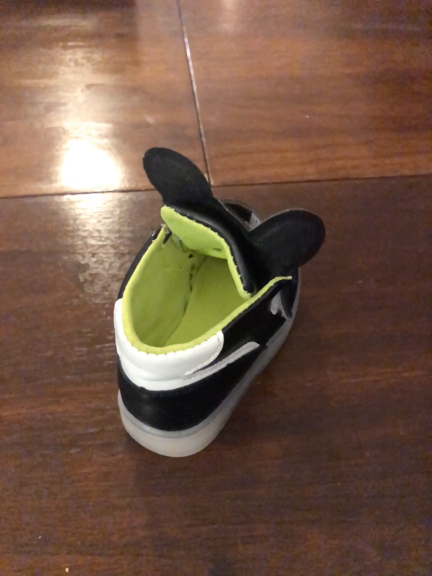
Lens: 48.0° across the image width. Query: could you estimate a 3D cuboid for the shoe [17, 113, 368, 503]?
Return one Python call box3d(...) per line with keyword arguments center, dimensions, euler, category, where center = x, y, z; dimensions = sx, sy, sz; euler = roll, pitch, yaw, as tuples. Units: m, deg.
box3d(center=(0.000, 0.002, 0.248), dimensions=(0.090, 0.100, 0.150), euler=(22, 52, 16), category="shoe")
